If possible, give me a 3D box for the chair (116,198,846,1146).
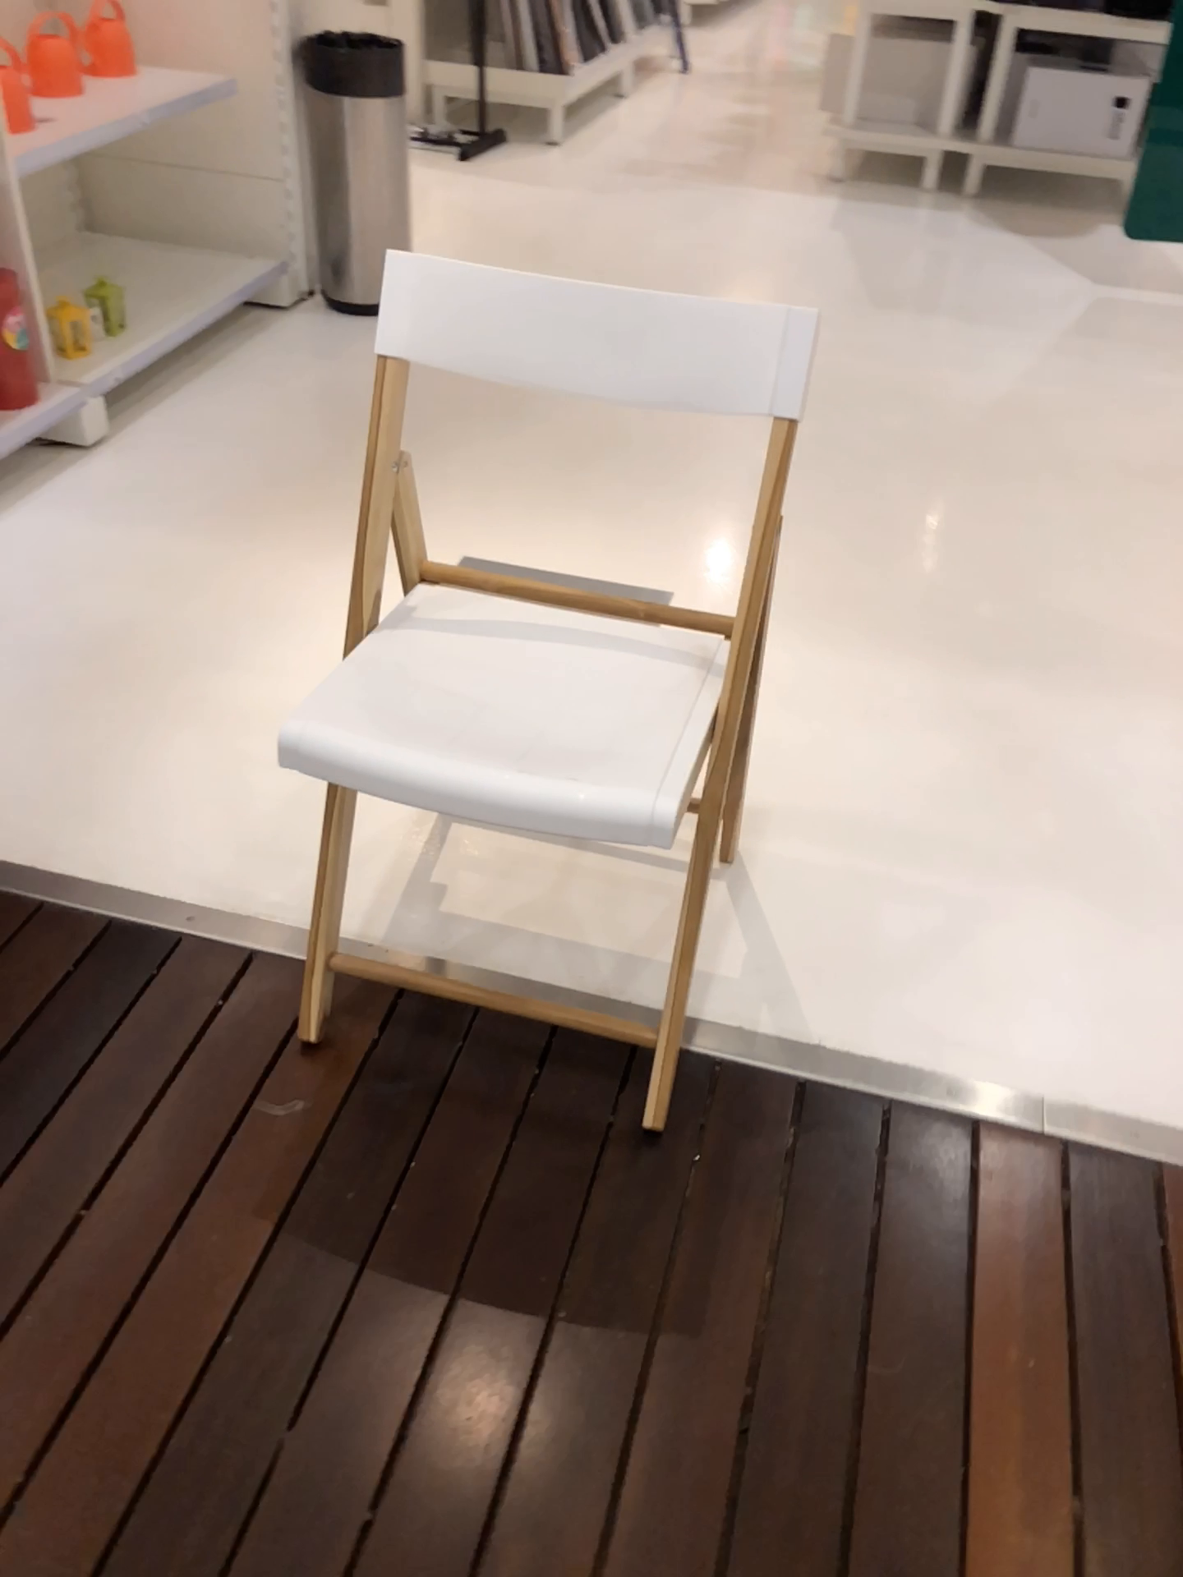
[{"bbox_3d":[-0.066,-0.121,1.333,0.470,0.734,0.514,12,41,11],"label":"chair"}]
